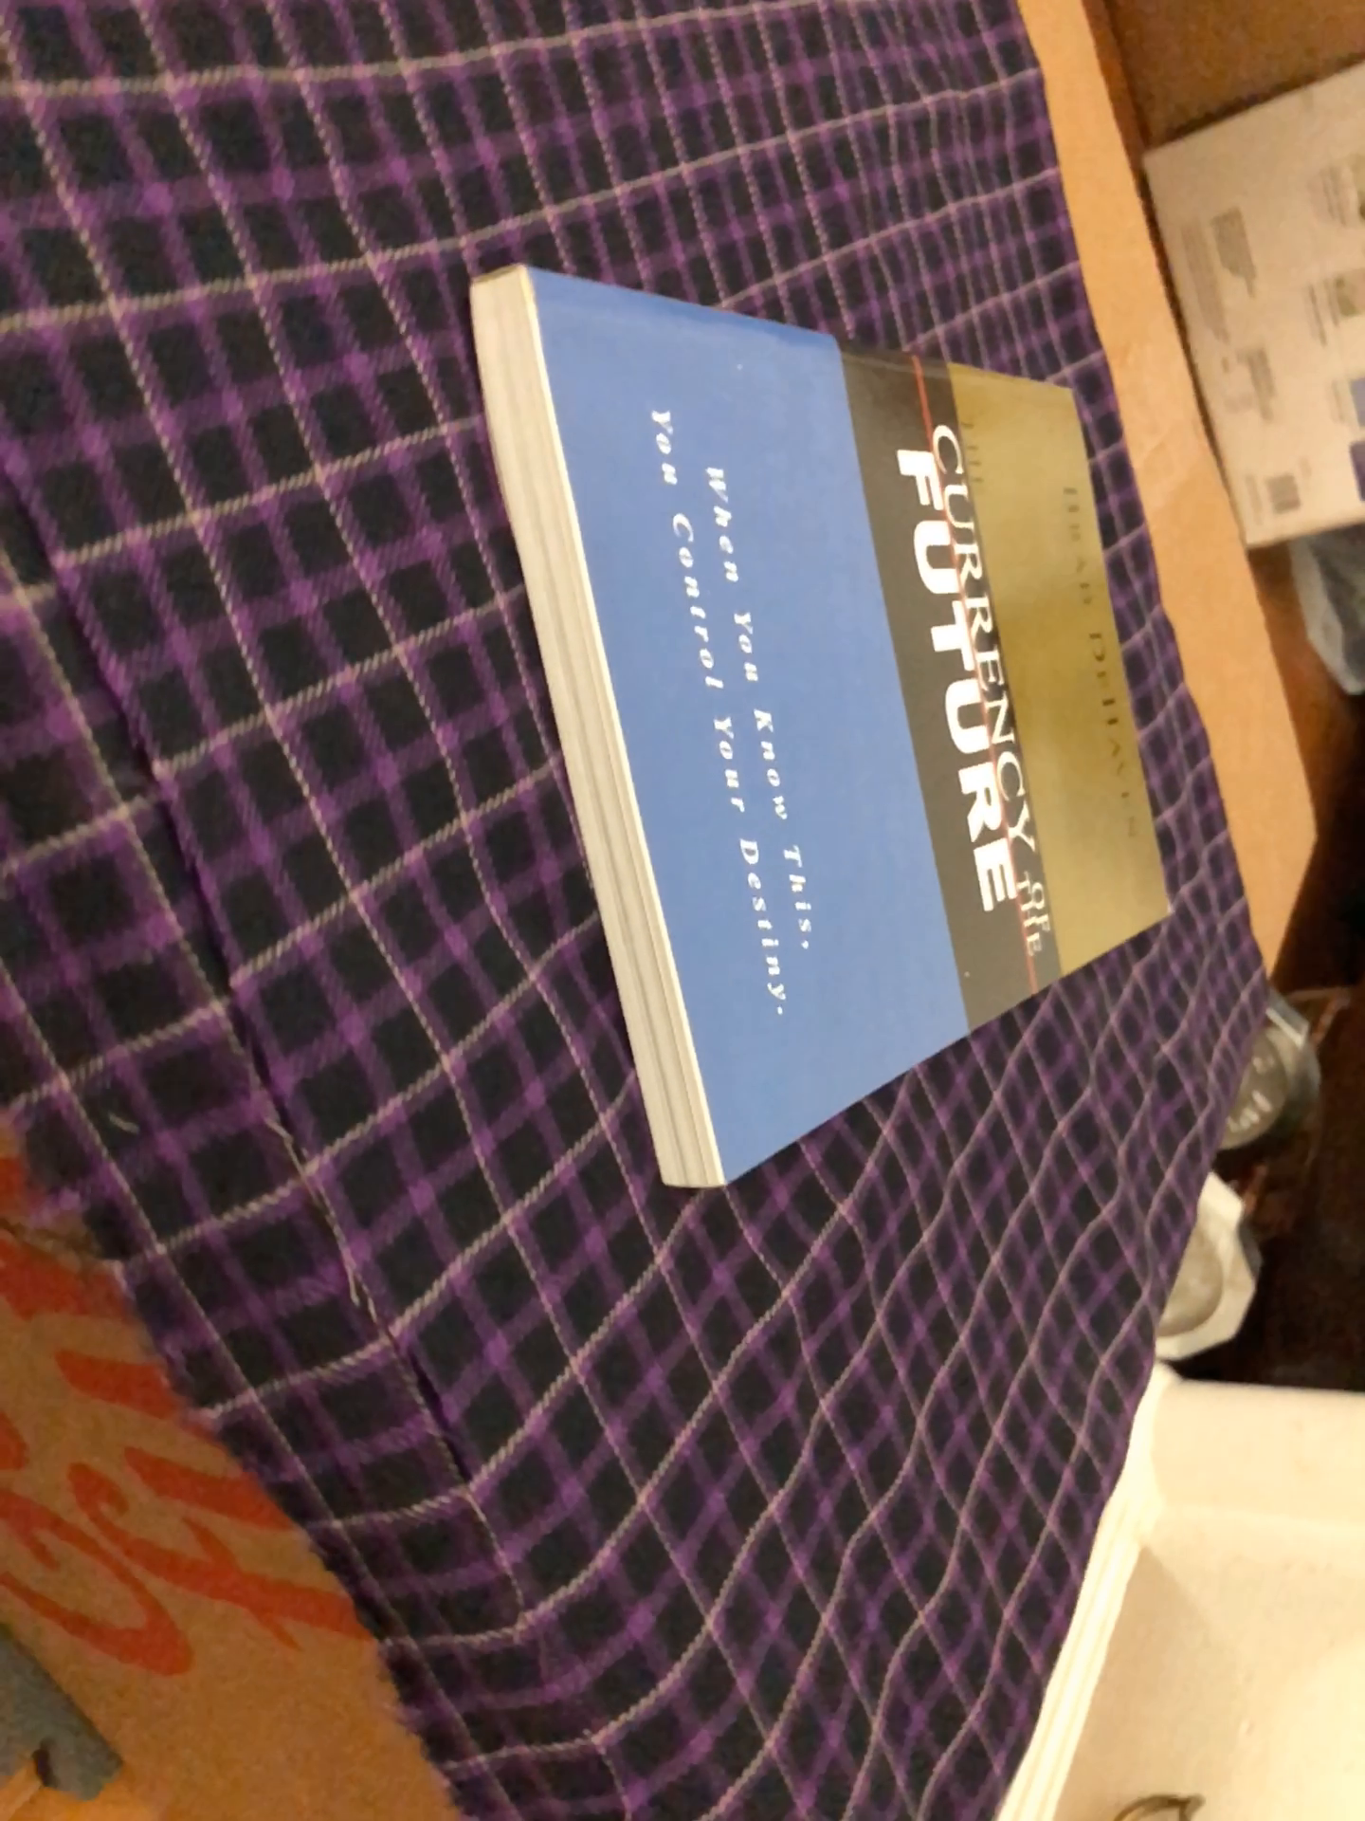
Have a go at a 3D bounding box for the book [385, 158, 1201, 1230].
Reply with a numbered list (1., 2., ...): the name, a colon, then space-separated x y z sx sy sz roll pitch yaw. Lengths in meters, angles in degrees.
1. book: 0.046 -0.047 0.303 0.221 0.020 0.150 -18 97 -53
